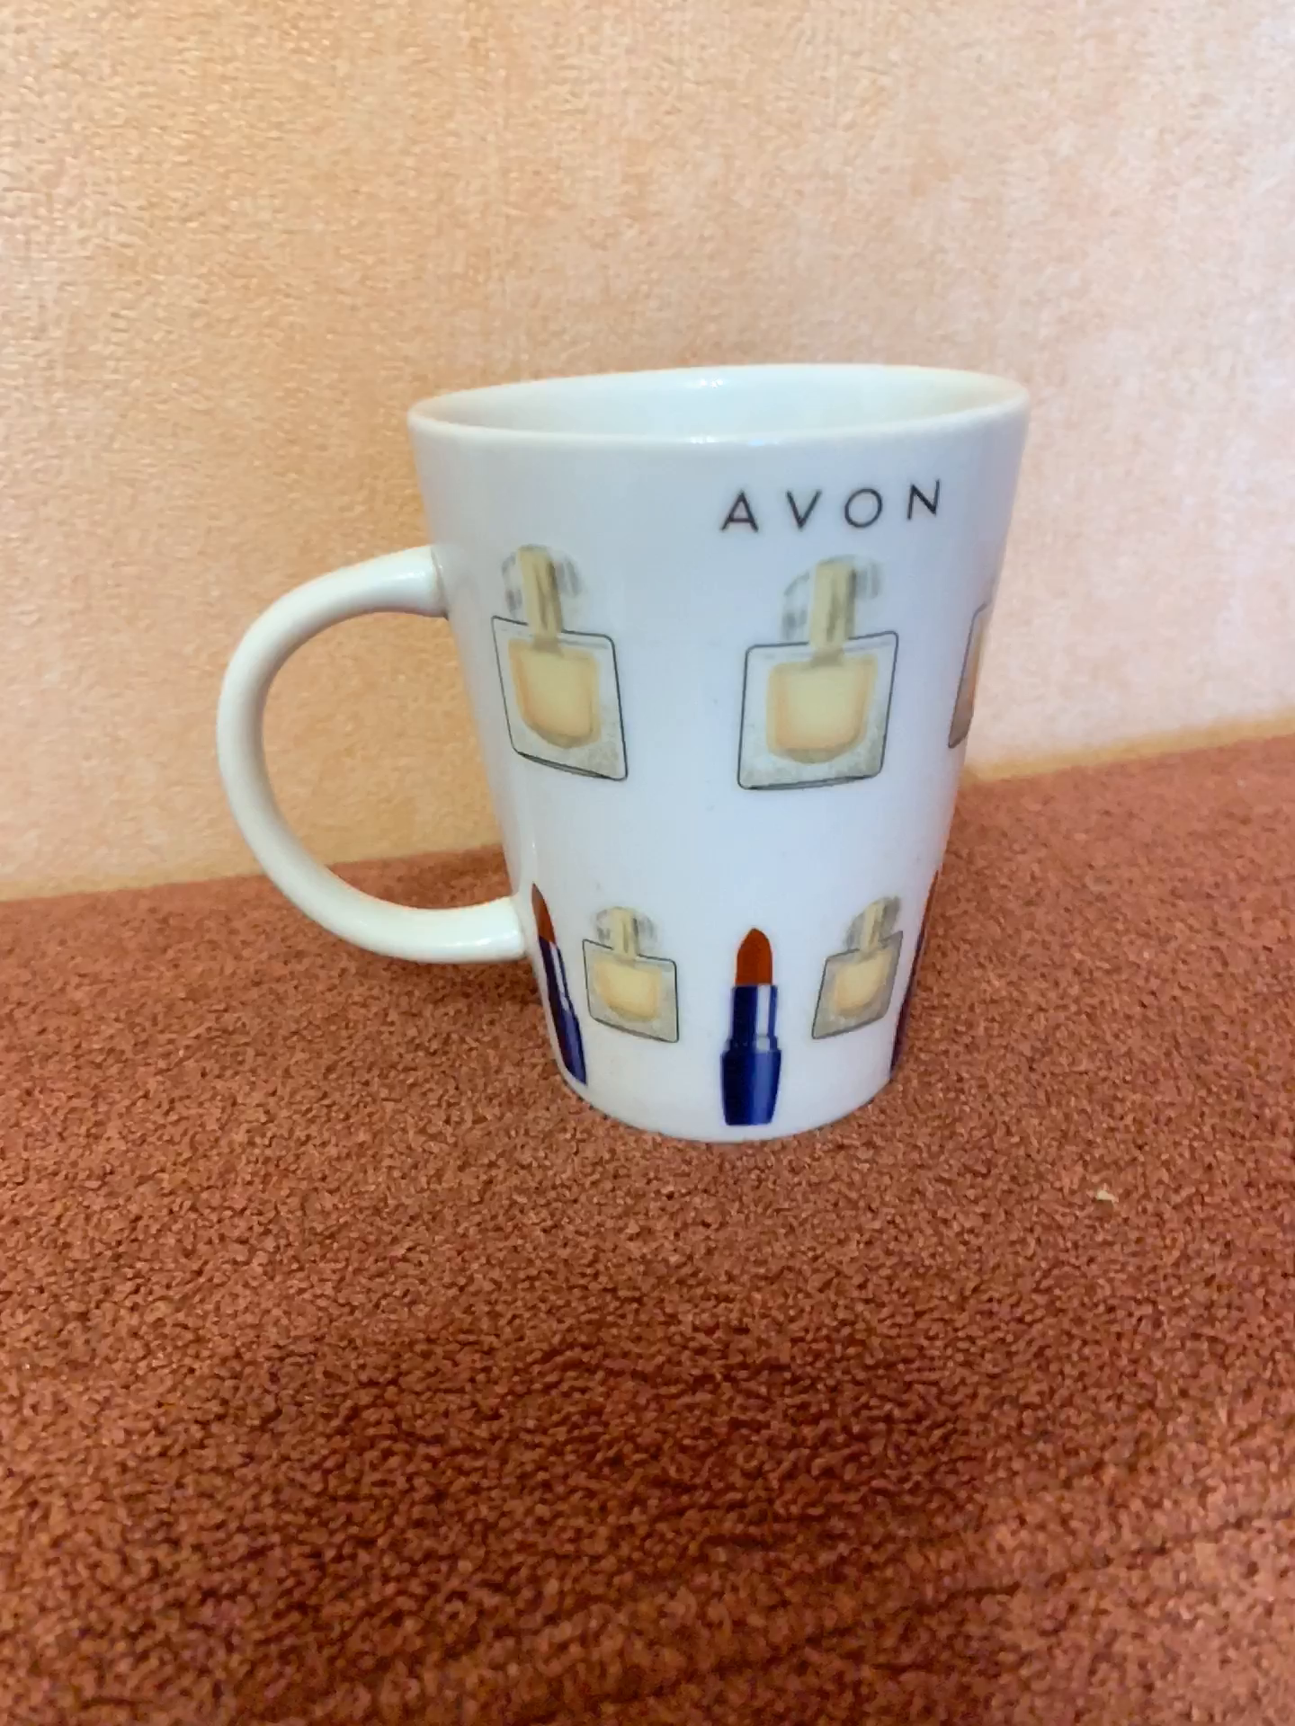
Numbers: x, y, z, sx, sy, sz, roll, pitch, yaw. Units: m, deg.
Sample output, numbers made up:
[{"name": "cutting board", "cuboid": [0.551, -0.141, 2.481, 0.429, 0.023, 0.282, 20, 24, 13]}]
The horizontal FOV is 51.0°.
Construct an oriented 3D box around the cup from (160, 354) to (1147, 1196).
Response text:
[{"name": "cup", "cuboid": [-0.001, -0.017, 0.193, 0.103, 0.093, 0.071, -3, 26, -5]}]
